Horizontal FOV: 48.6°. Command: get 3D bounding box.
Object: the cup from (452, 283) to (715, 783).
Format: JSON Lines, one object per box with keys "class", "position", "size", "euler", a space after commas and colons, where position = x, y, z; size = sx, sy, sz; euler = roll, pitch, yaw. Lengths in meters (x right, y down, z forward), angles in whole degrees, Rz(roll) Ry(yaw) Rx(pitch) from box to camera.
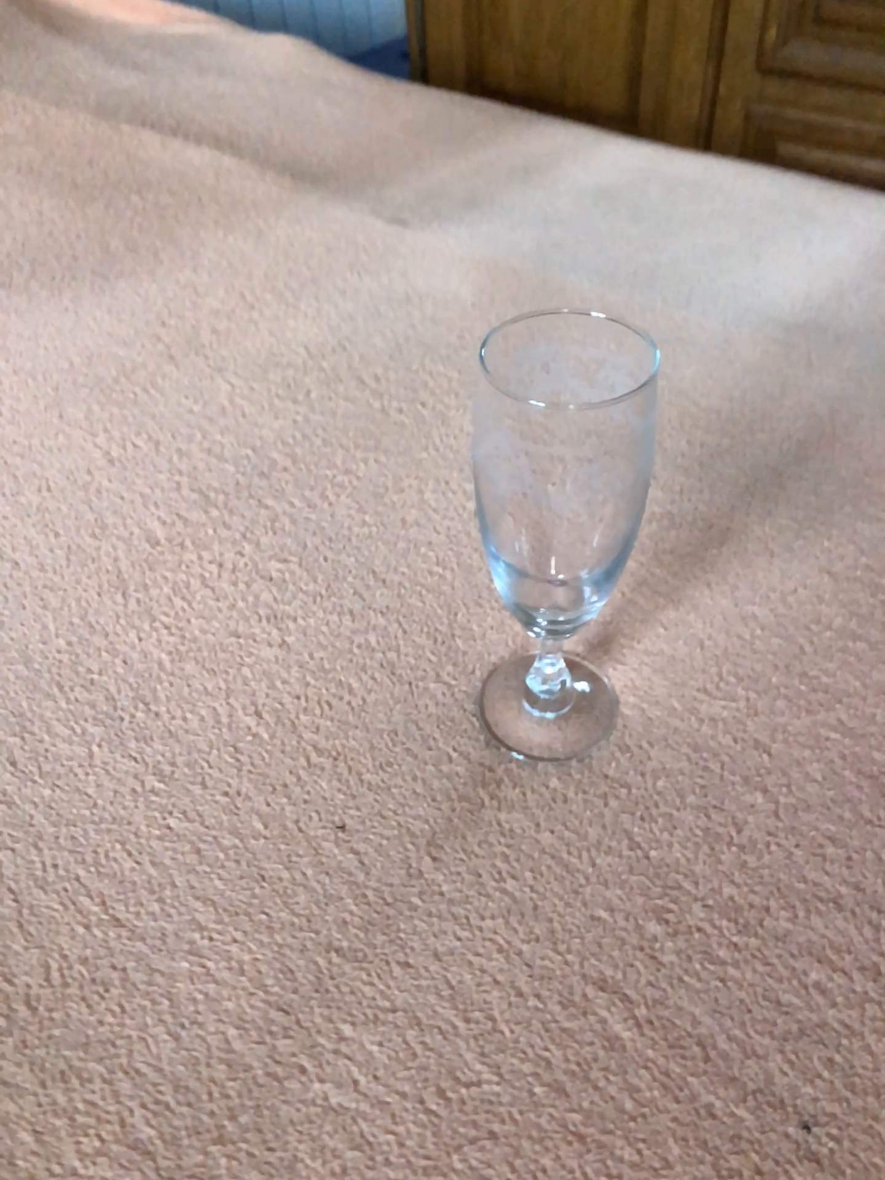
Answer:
{"class": "cup", "position": [0.042, -0.012, 0.332], "size": [0.060, 0.159, 0.060], "euler": [-2, 43, 2]}
